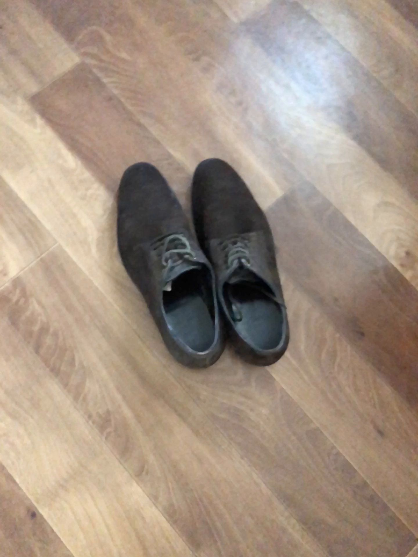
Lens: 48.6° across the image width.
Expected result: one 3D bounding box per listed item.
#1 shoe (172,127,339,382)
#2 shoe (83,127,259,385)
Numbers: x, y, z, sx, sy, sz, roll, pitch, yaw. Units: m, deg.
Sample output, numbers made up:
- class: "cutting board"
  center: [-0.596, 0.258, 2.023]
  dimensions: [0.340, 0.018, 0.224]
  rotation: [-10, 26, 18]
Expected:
- class: "shoe"
  center: [0.050, -0.030, 0.626]
  dimensions: [0.120, 0.100, 0.310]
  rotation: [-16, 78, -7]
- class: "shoe"
  center: [-0.055, -0.028, 0.622]
  dimensions: [0.120, 0.100, 0.310]
  rotation: [-20, 78, -8]
